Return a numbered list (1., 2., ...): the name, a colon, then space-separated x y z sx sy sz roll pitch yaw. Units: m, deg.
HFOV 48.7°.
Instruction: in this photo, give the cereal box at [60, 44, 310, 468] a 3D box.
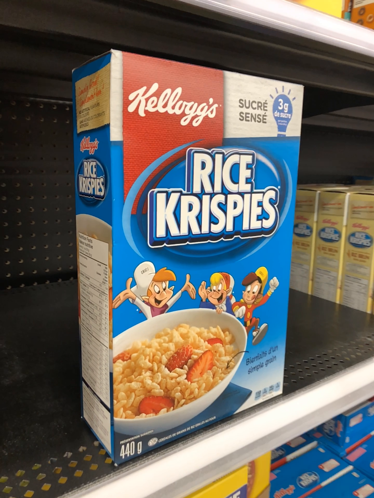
1. cereal box: 0.003 0.002 0.374 0.200 0.299 0.080 -6 13 -34
